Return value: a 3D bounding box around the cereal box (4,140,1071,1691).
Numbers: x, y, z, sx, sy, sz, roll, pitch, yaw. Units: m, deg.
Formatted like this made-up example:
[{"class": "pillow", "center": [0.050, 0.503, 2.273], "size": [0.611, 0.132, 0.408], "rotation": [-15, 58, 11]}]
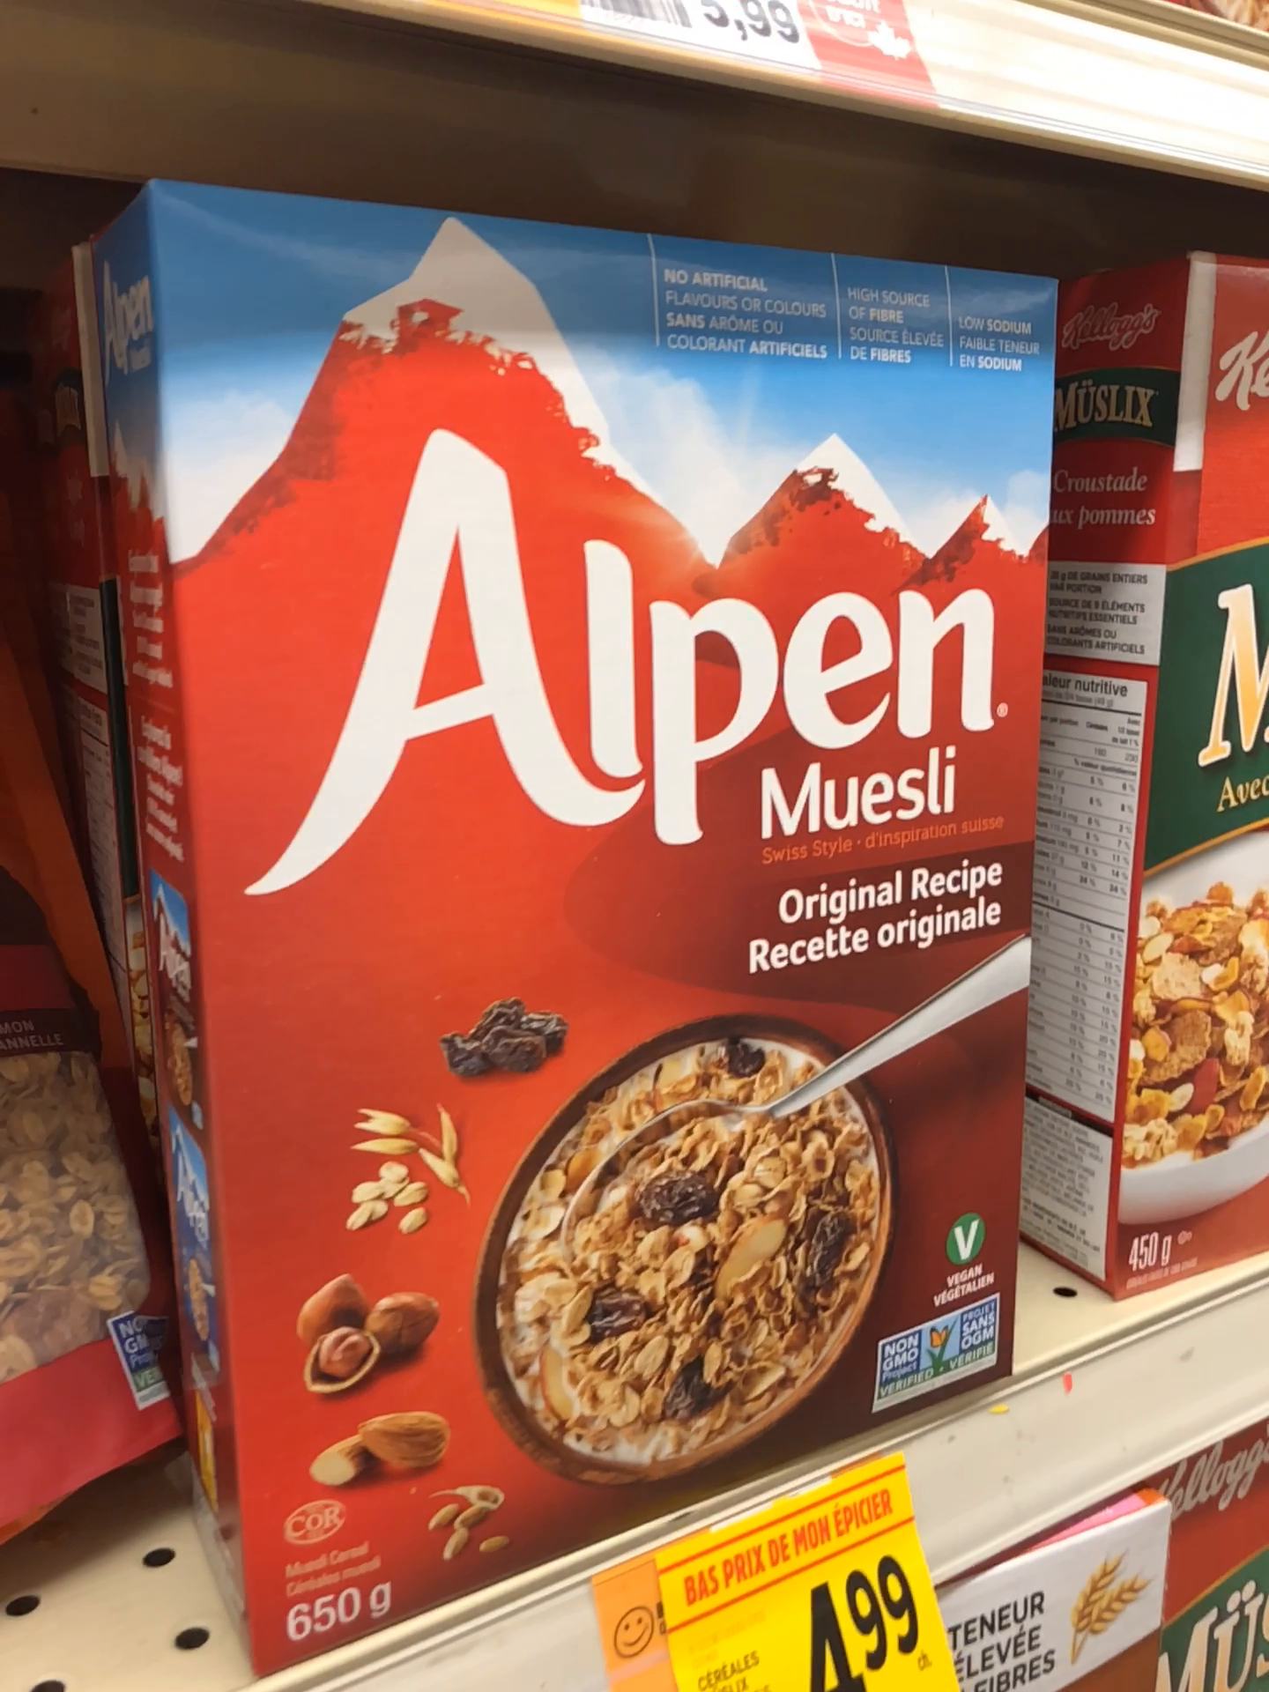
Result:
[{"class": "cereal box", "center": [-0.010, 0.012, 0.272], "size": [0.180, 0.239, 0.060], "rotation": [-7, 14, -31]}]
